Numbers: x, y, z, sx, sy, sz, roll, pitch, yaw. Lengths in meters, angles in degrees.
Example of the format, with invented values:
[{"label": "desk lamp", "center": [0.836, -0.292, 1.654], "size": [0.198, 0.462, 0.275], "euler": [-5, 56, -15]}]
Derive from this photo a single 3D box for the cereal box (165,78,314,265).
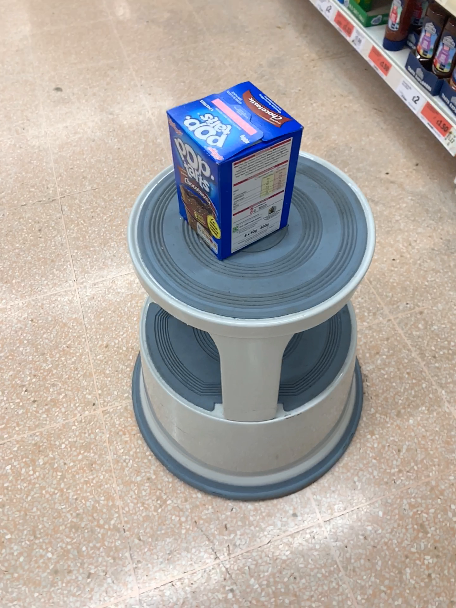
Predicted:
[{"label": "cereal box", "center": [0.013, -0.144, 0.521], "size": [0.110, 0.139, 0.101], "euler": [-30, 61, -15]}]
